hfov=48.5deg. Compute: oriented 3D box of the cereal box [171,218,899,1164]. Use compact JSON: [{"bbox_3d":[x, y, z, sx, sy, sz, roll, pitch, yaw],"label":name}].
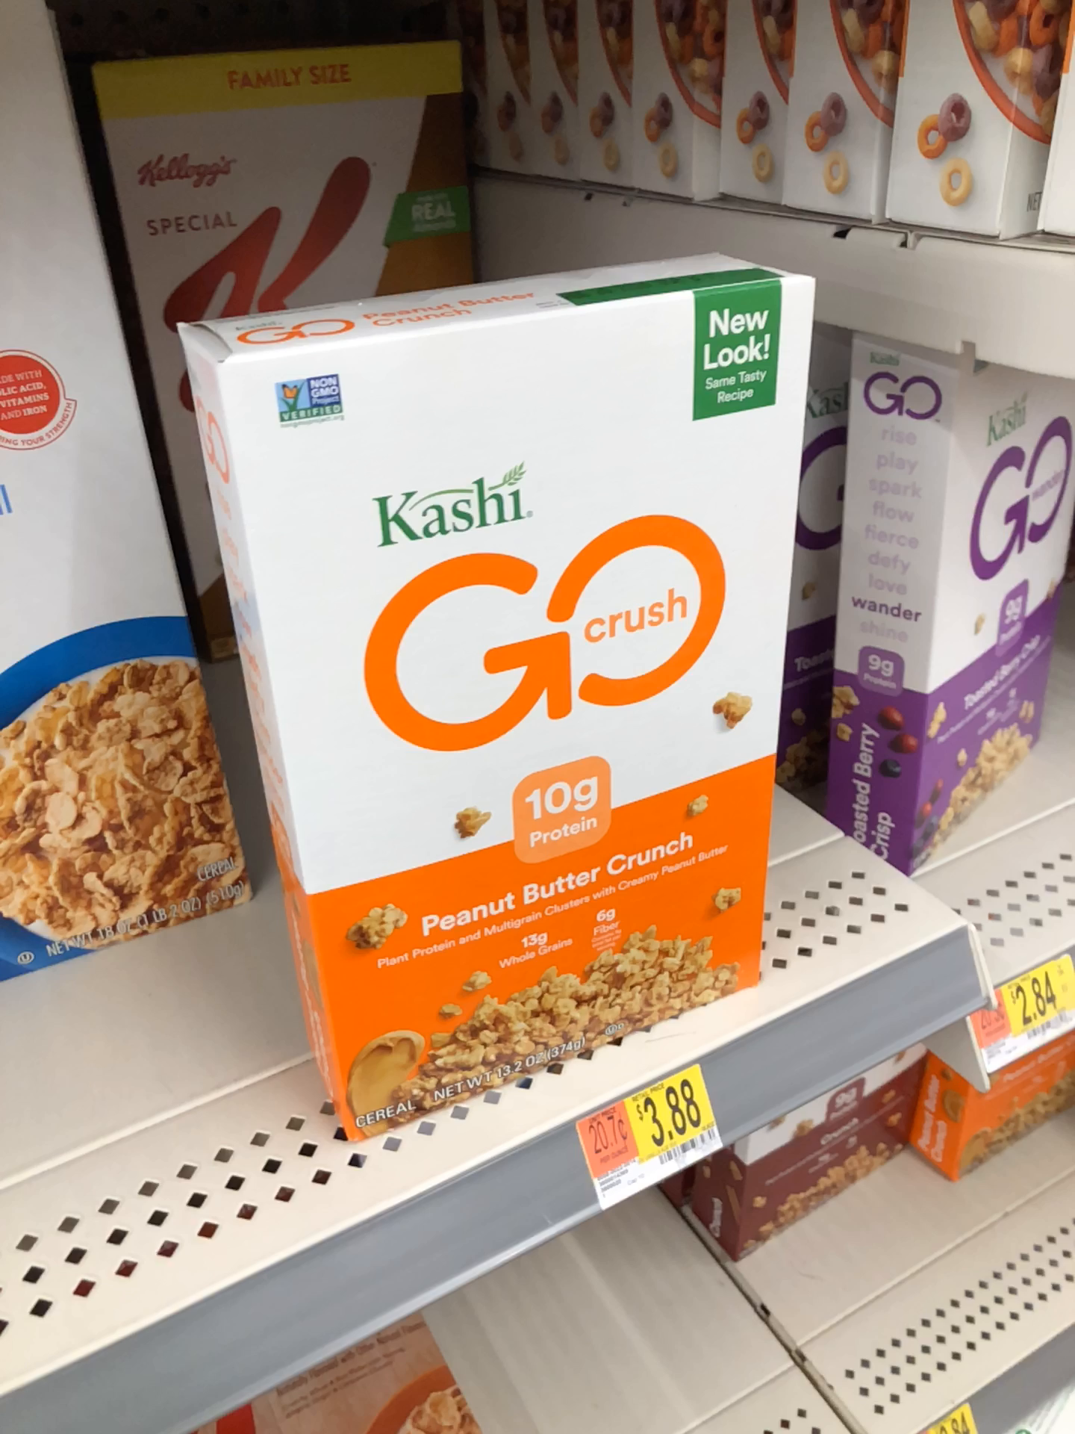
[{"bbox_3d":[0.007,-0.001,0.352,0.170,0.249,0.050,-16,34,-20],"label":"cereal box"}]
